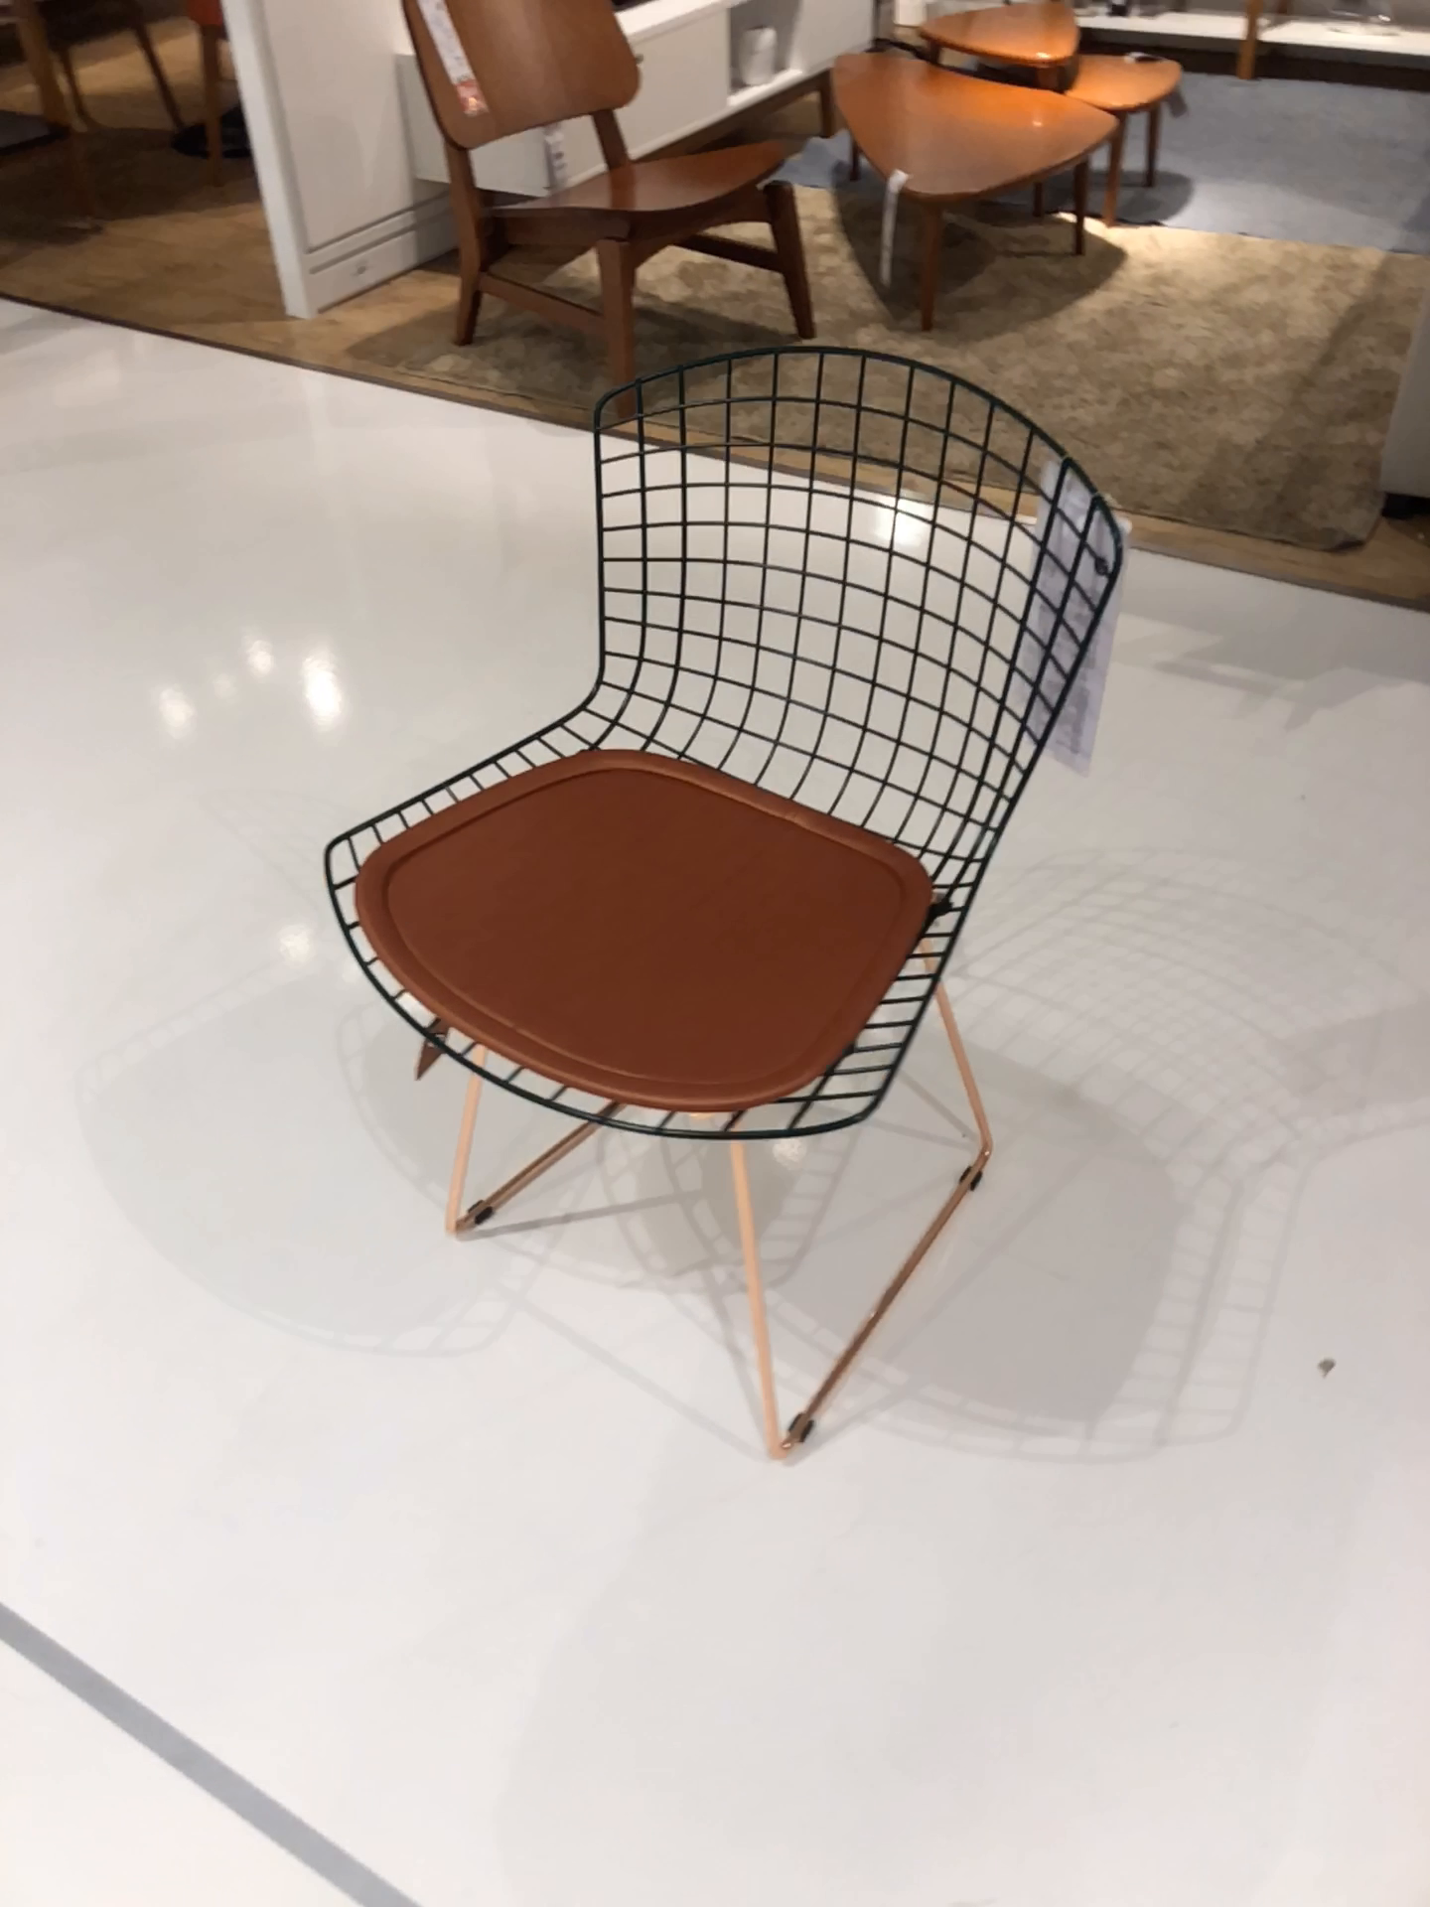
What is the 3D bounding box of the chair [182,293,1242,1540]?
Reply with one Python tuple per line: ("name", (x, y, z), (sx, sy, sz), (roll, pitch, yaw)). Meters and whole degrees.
("chair", (0.019, -0.043, 1.263), (0.491, 0.724, 0.503), (27, 49, 30))
